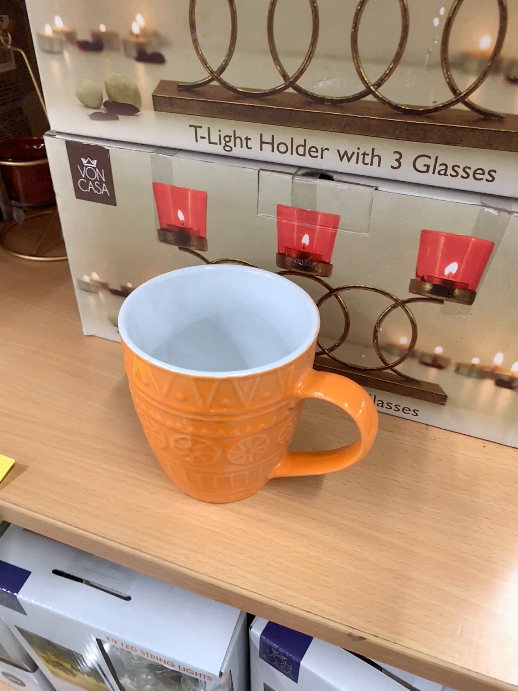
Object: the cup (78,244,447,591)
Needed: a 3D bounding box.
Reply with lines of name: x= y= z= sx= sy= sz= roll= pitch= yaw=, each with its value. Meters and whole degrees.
cup: x=0.002 y=0.022 z=0.231 sx=0.120 sy=0.080 sz=0.080 roll=19 pitch=39 yaw=20
